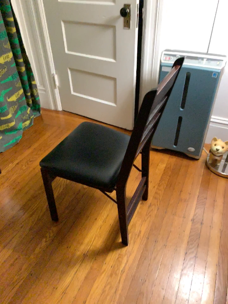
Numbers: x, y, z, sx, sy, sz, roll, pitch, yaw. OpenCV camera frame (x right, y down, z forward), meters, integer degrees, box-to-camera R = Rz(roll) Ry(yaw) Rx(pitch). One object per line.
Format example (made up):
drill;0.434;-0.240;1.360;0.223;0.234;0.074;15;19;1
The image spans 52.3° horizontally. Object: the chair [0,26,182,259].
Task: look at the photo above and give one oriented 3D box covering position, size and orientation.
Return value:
chair;-0.076;-0.043;1.088;0.551;0.865;0.492;14;41;18
